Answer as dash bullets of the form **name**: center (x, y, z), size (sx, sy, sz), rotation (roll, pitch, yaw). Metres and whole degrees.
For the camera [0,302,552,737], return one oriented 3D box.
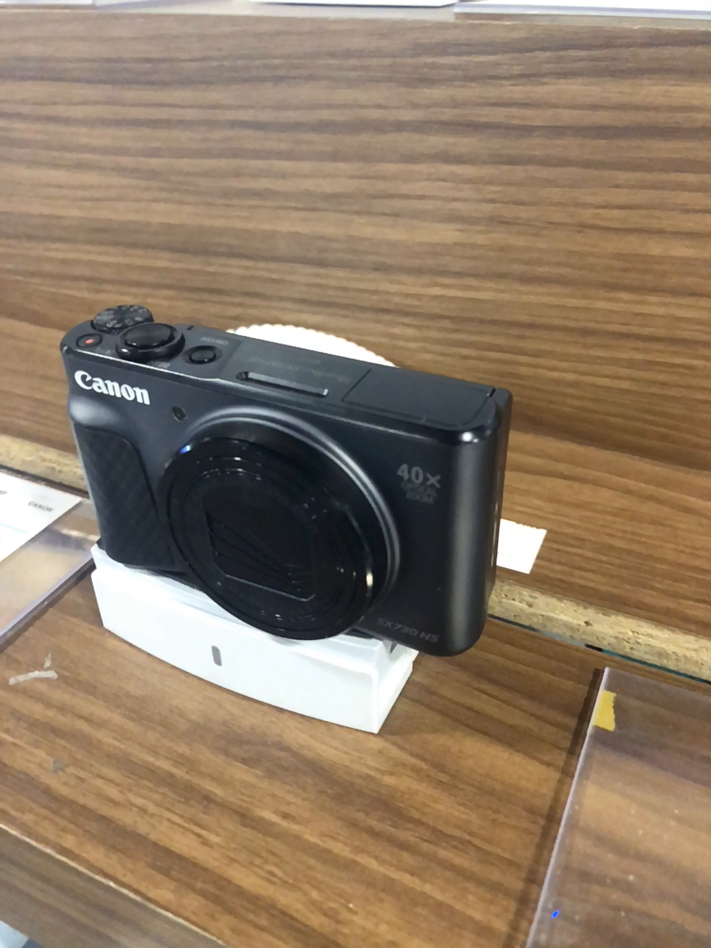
- **camera**: center (-0.018, 0.006, 0.179), size (0.109, 0.063, 0.037), rotation (15, 39, 22)
